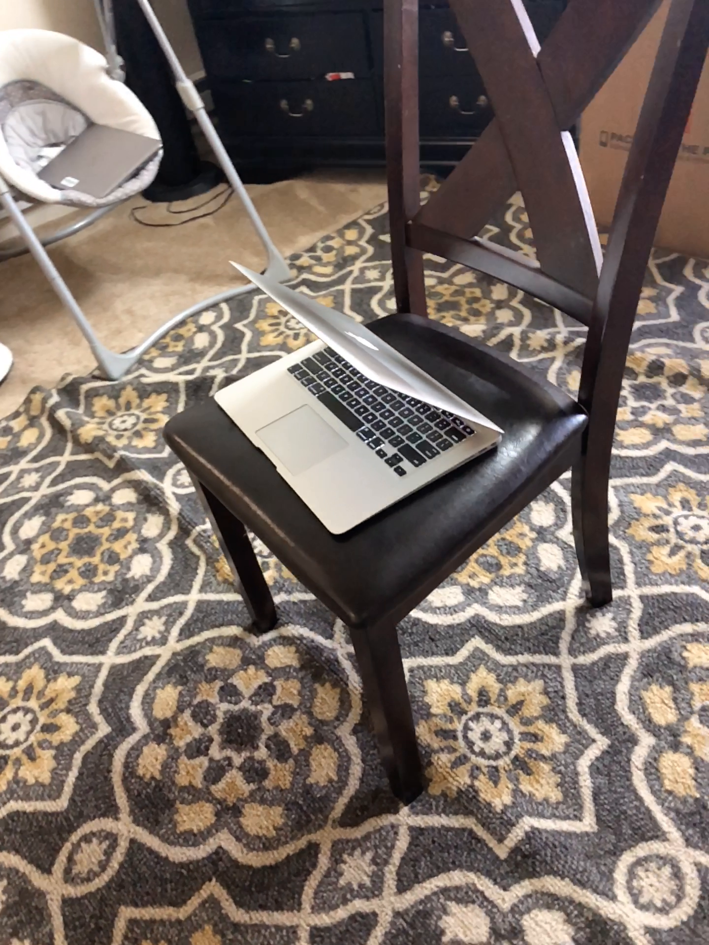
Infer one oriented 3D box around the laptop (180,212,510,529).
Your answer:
[{"bbox_3d":[-0.014,-0.128,0.858,0.215,0.154,0.305,-28,46,-17],"label":"laptop"}]
